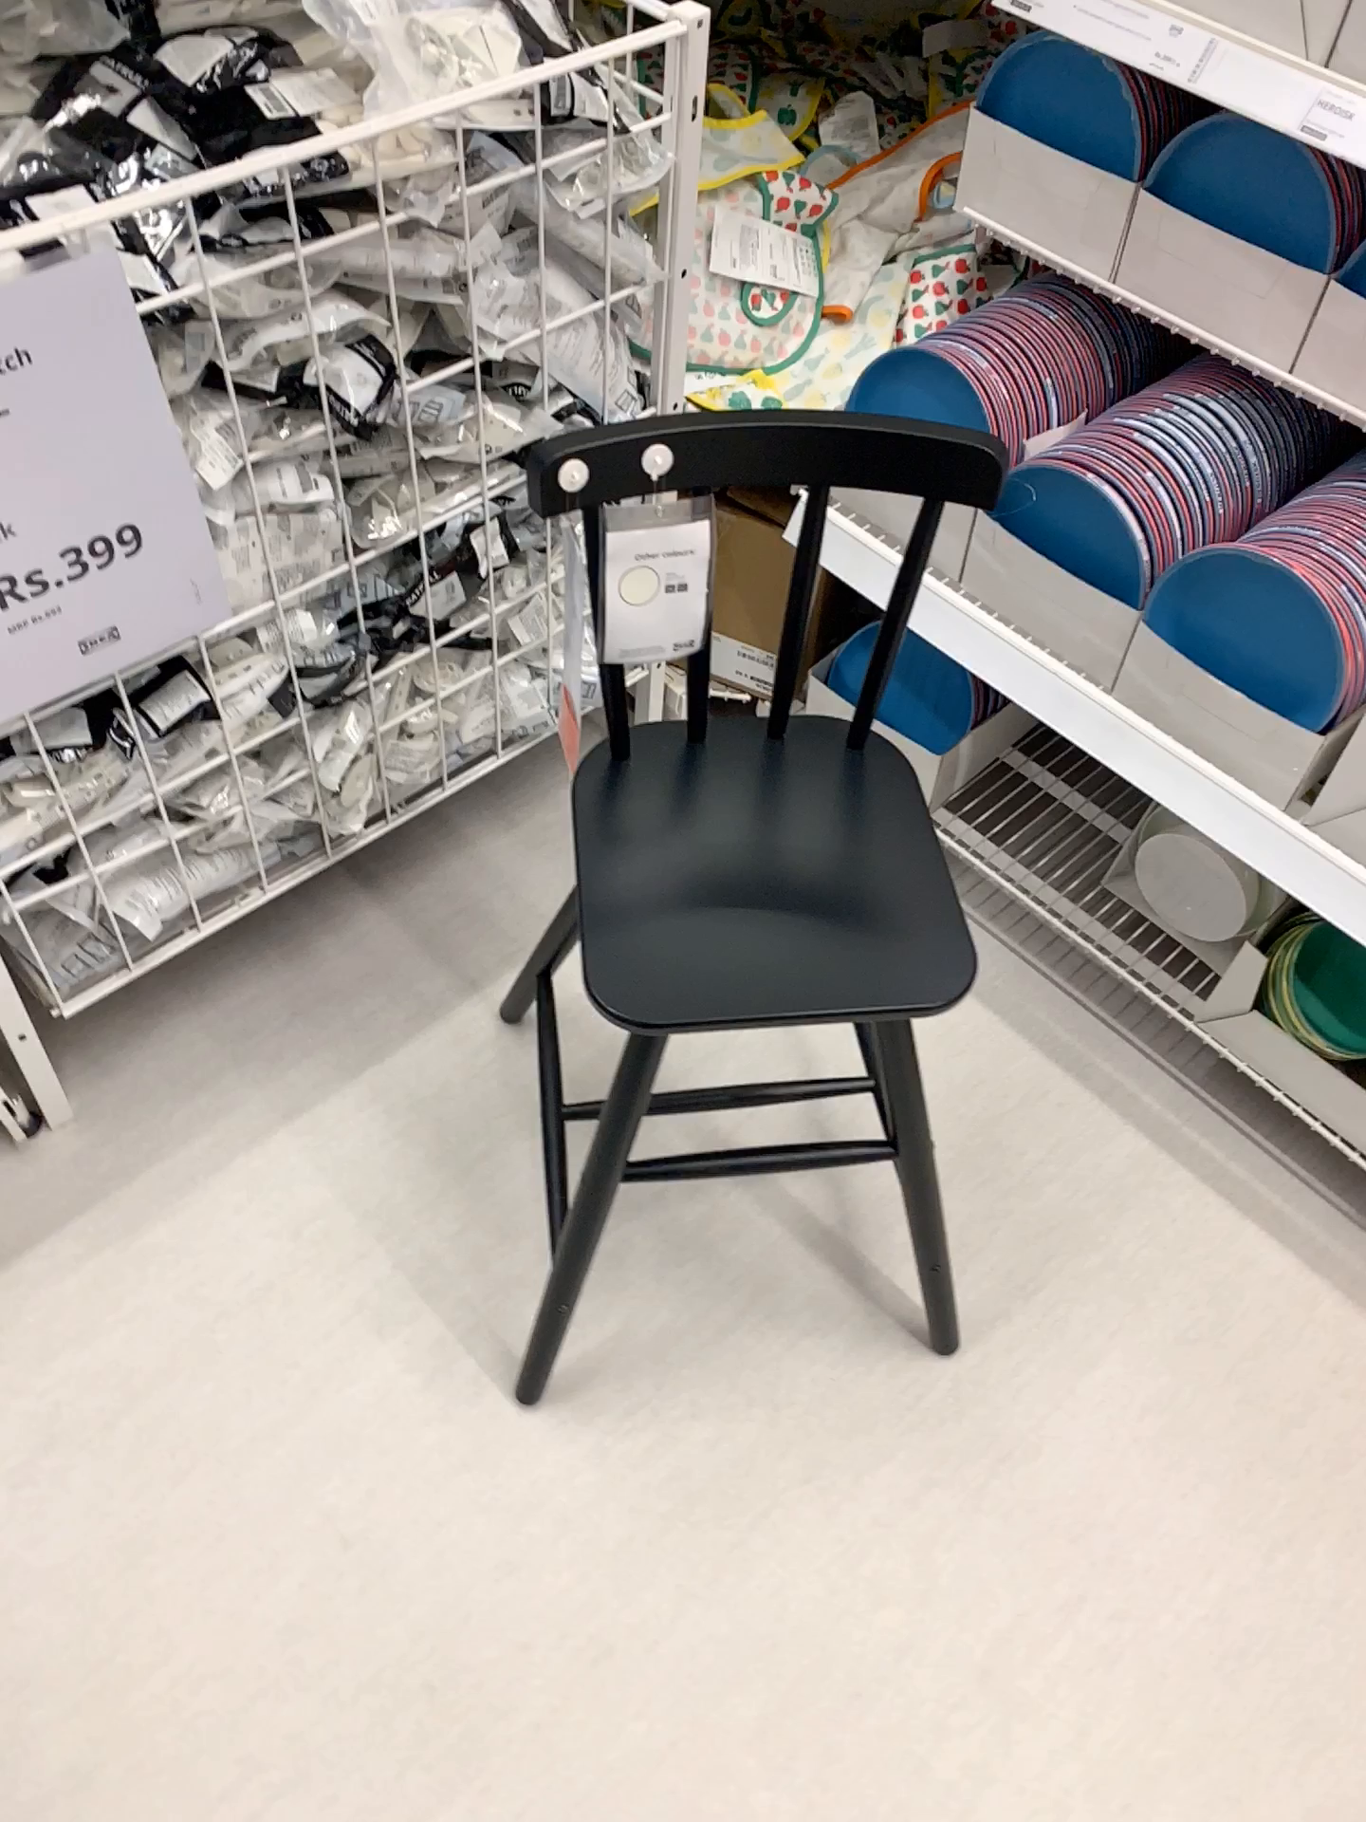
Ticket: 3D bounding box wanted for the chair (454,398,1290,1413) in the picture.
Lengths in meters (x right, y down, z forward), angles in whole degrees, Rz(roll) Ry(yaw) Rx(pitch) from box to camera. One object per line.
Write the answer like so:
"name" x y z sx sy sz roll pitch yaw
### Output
"chair" 0.057 0.036 1.101 0.420 0.688 0.461 -3 53 -7
